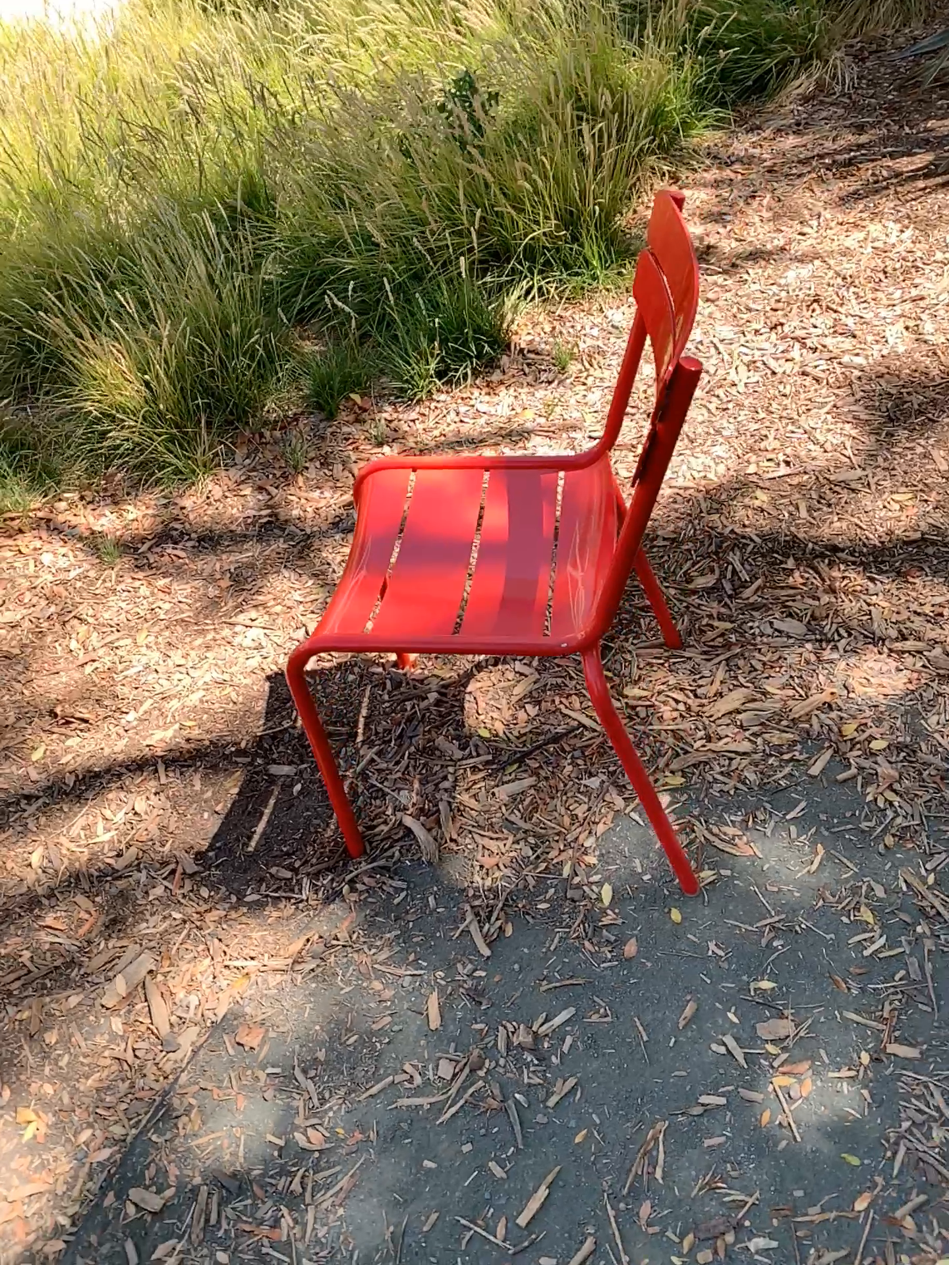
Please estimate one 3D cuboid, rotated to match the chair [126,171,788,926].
[{"bbox_3d":[0.021,-0.112,1.317,0.570,0.785,0.614,3,42,6],"label":"chair"}]
